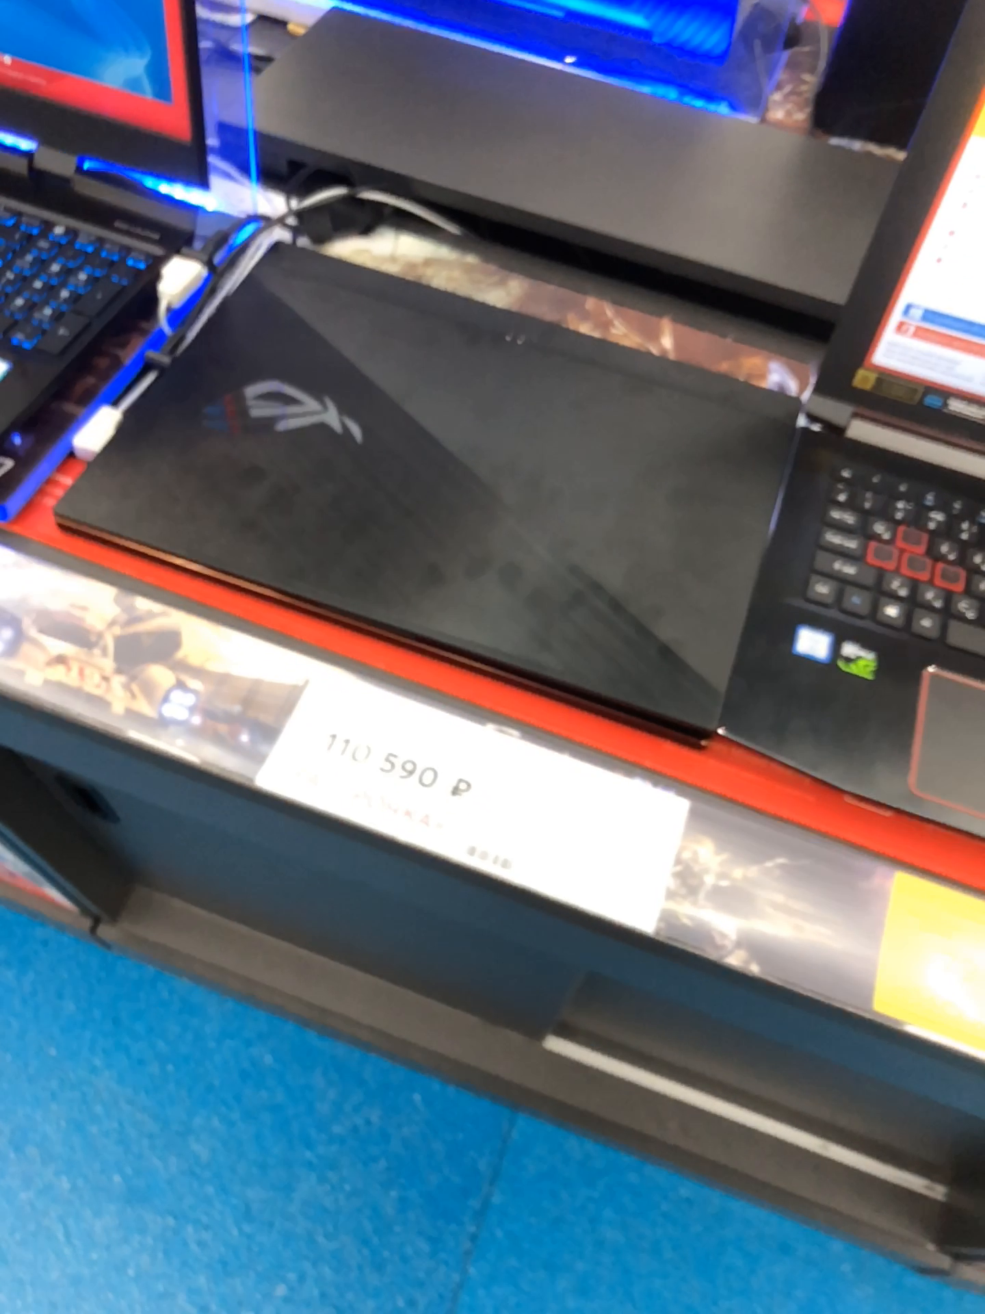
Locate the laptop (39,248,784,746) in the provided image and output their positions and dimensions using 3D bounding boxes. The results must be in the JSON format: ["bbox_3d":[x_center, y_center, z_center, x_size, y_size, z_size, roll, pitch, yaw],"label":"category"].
[{"bbox_3d":[-0.029,-0.111,0.621,0.348,0.006,0.255,19,55,7],"label":"laptop"}]
